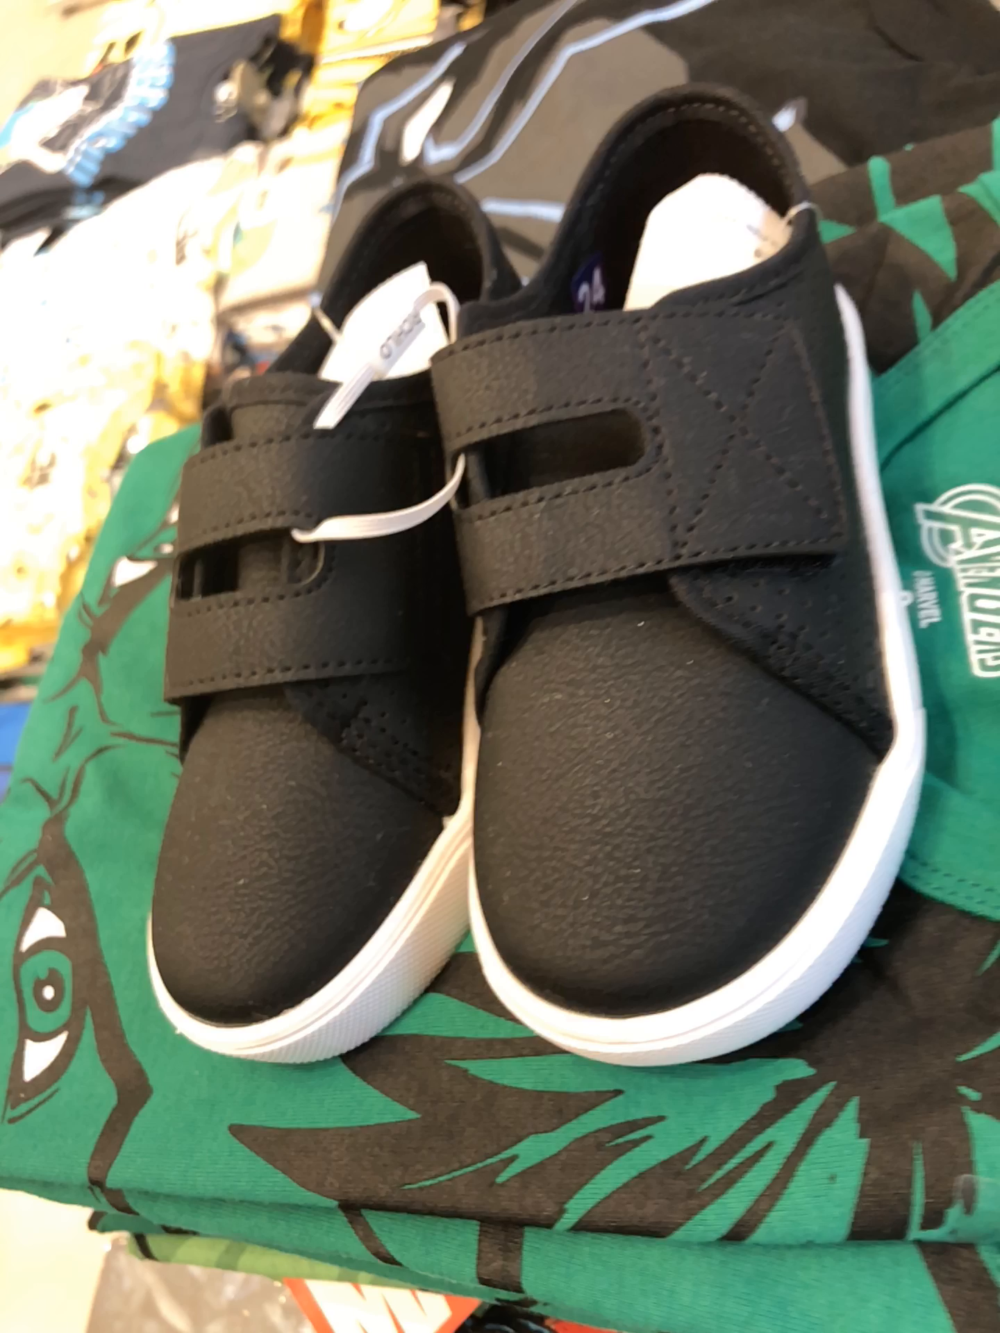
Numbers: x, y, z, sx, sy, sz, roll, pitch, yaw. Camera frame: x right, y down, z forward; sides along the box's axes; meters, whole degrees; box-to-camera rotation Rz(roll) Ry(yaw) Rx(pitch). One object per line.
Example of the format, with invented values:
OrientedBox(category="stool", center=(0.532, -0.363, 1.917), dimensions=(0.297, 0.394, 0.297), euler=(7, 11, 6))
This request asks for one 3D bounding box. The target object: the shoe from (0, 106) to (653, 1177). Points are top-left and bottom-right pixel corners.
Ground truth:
OrientedBox(category="shoe", center=(-0.036, -0.006, 0.220), dimensions=(0.080, 0.090, 0.170), euler=(4, 63, 25))

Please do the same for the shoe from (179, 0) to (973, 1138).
OrientedBox(category="shoe", center=(0.030, -0.020, 0.198), dimensions=(0.090, 0.090, 0.170), euler=(-2, 61, 22))
